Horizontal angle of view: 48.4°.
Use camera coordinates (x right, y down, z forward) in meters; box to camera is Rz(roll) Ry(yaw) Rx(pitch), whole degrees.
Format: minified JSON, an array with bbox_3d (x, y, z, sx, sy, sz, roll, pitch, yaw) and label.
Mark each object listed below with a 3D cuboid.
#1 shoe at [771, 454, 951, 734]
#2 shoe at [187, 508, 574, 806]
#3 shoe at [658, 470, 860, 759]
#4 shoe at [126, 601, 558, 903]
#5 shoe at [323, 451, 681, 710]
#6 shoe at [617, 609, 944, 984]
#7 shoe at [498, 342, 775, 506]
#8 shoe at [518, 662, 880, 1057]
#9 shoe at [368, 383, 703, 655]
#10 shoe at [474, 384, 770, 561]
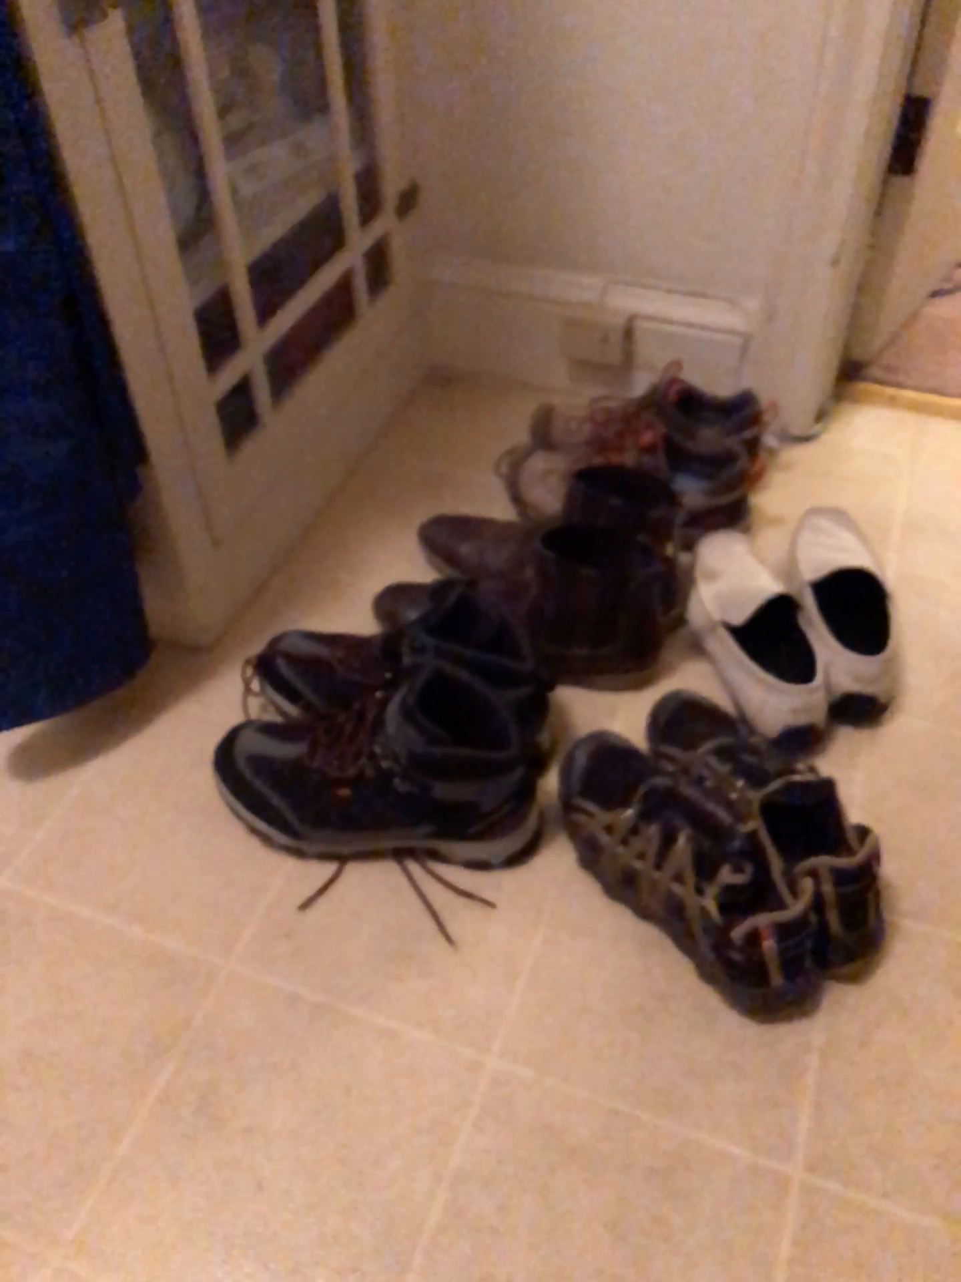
[{"bbox_3d":[0.385,-0.059,1.119,0.110,0.112,0.305,3,44,5],"label":"shoe"},{"bbox_3d":[-0.086,0.014,1.008,0.323,0.192,0.111,13,46,15],"label":"shoe"},{"bbox_3d":[0.272,-0.037,1.098,0.110,0.112,0.305,-4,44,-2],"label":"shoe"},{"bbox_3d":[-0.105,0.095,0.915,0.323,0.192,0.111,8,45,10],"label":"shoe"},{"bbox_3d":[0.024,-0.061,1.085,0.323,0.192,0.111,9,45,11],"label":"shoe"},{"bbox_3d":[0.243,0.123,0.933,0.110,0.122,0.295,-18,46,-15],"label":"shoe"},{"bbox_3d":[0.187,-0.269,1.316,0.313,0.112,0.111,11,46,13],"label":"shoe"},{"bbox_3d":[0.163,0.168,0.886,0.110,0.122,0.294,-27,49,-23],"label":"shoe"},{"bbox_3d":[0.056,-0.134,1.156,0.323,0.192,0.111,17,47,18],"label":"shoe"},{"bbox_3d":[0.160,-0.198,1.237,0.313,0.112,0.111,11,46,13],"label":"shoe"}]
